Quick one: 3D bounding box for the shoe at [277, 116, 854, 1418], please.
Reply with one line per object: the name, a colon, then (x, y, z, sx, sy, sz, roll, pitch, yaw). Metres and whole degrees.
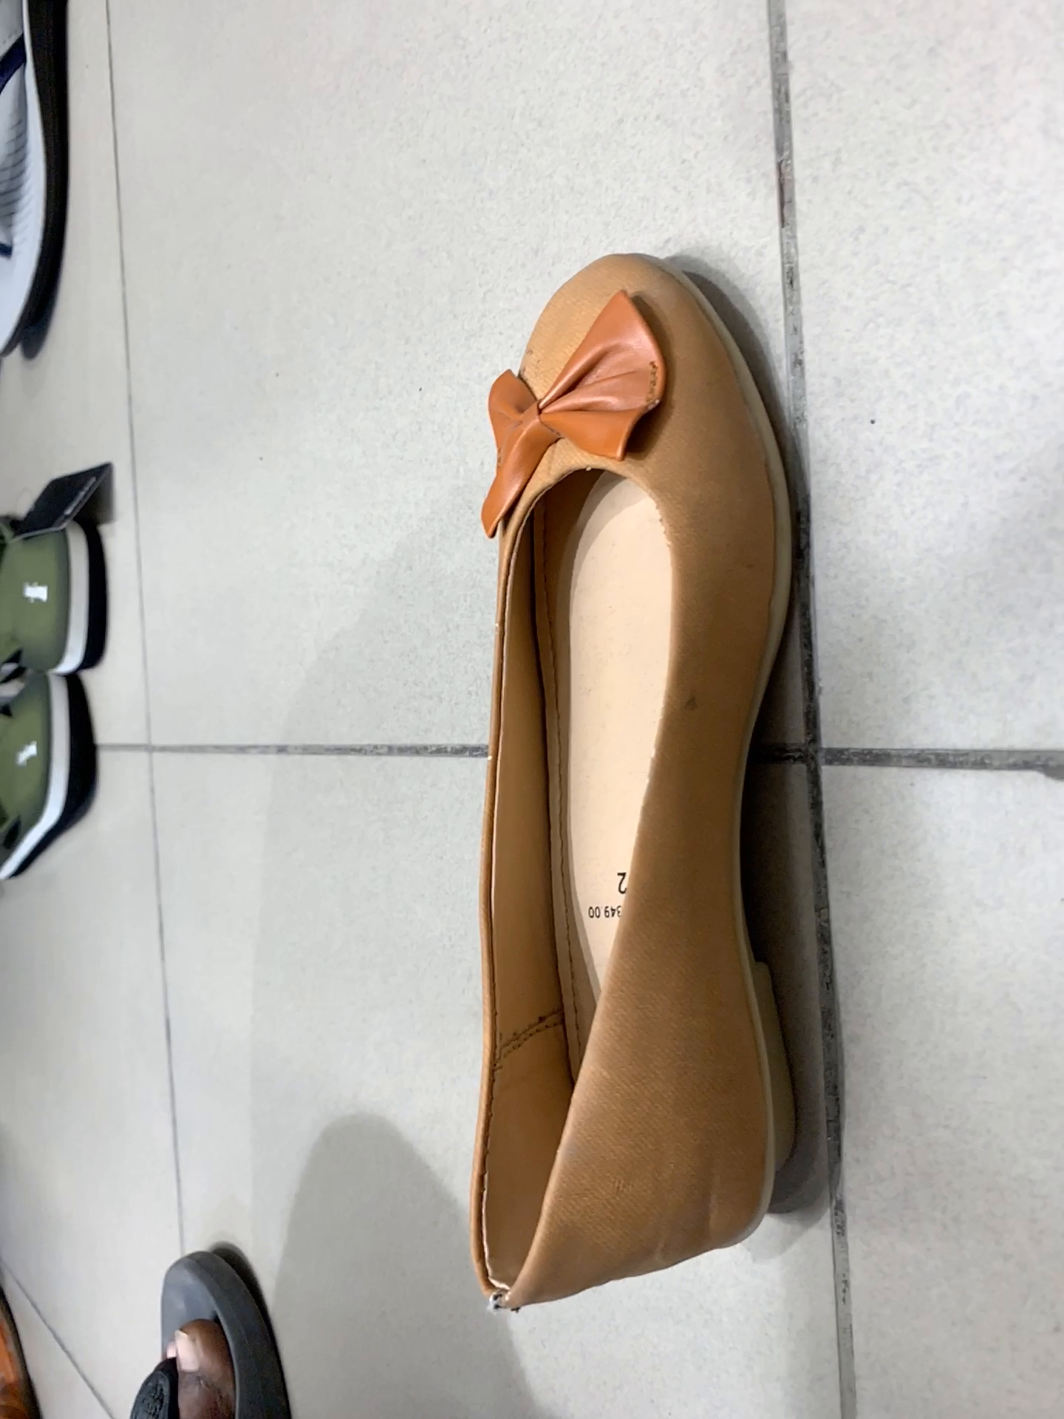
shoe: (0.004, 0.015, 0.229, 0.081, 0.070, 0.220, -4, 89, 52)
